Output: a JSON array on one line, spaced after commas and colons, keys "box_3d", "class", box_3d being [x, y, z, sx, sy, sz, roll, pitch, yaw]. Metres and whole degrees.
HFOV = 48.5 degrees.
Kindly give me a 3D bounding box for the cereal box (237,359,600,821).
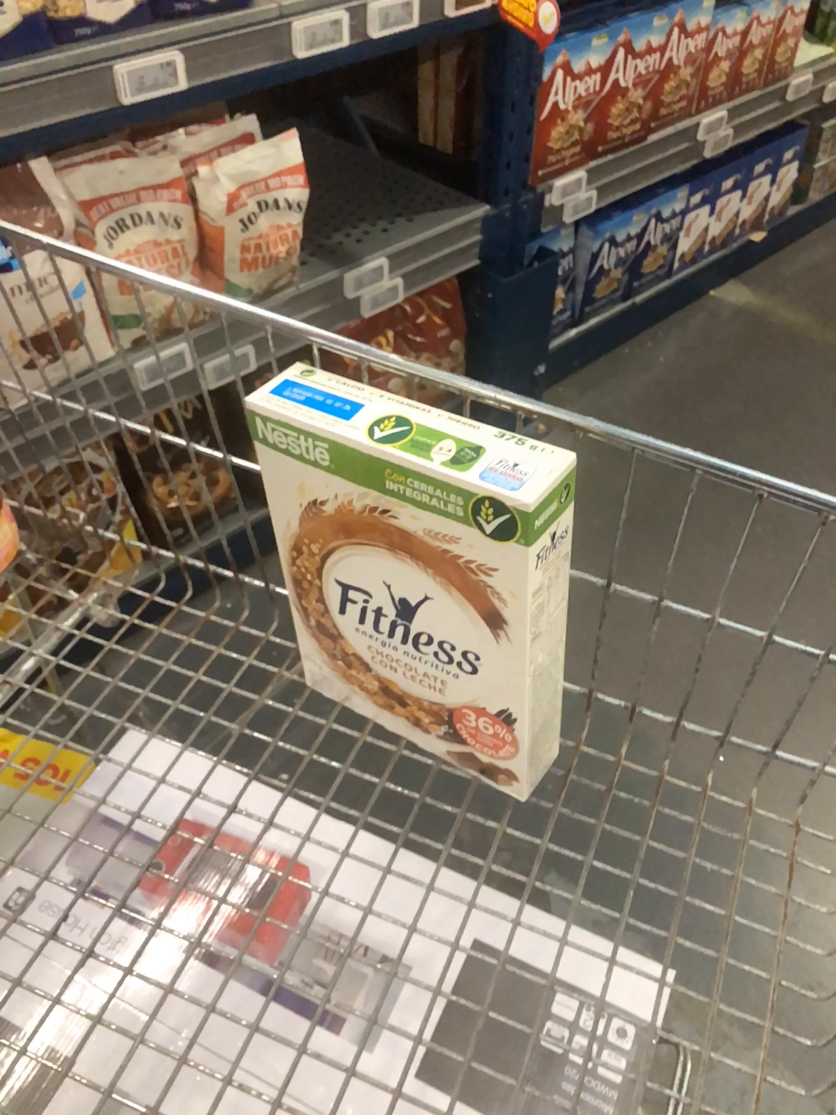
[{"box_3d": [0.002, 0.026, 0.593, 0.200, 0.259, 0.060, 23, 48, 27], "class": "cereal box"}]
